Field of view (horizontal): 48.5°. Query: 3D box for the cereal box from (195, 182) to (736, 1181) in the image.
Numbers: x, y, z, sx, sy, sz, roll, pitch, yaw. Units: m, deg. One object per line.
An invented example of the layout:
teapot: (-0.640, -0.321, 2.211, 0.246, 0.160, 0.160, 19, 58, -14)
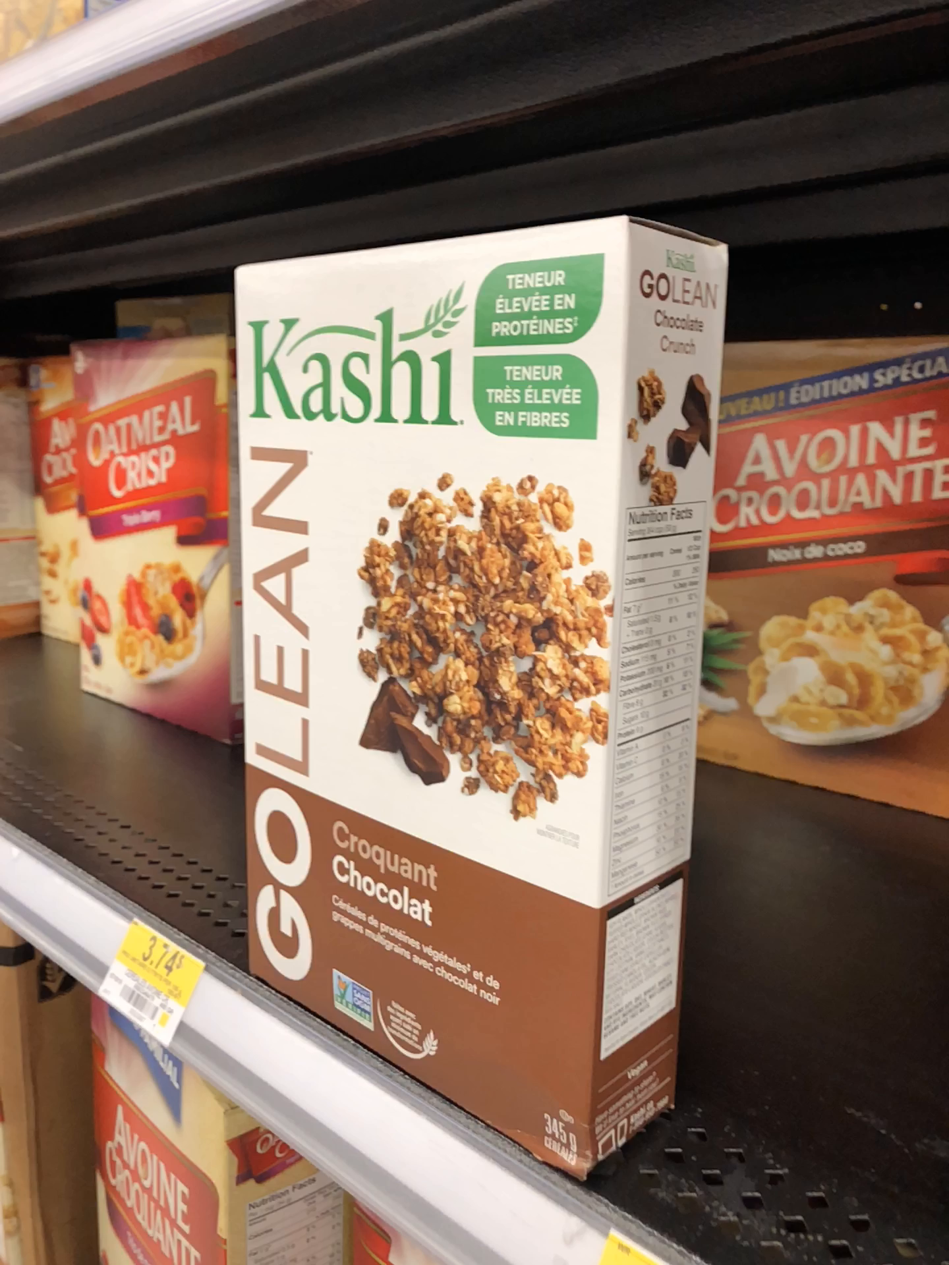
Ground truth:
cereal box: (-0.013, 0.007, 0.330, 0.170, 0.249, 0.050, 11, 16, 42)
